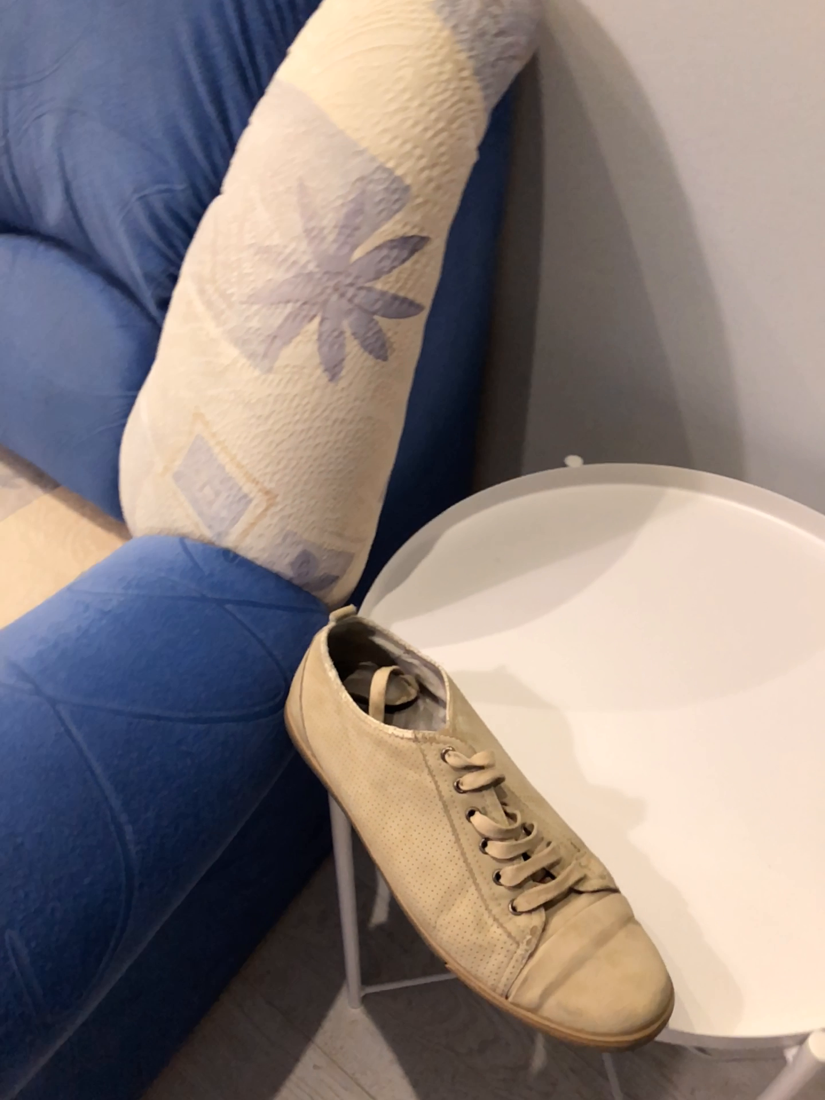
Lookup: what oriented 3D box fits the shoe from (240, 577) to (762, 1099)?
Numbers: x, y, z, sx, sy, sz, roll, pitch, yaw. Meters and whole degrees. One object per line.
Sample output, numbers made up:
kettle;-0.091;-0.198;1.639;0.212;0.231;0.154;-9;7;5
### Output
shoe;0.032;0.144;0.504;0.110;0.070;0.281;-30;54;-30
